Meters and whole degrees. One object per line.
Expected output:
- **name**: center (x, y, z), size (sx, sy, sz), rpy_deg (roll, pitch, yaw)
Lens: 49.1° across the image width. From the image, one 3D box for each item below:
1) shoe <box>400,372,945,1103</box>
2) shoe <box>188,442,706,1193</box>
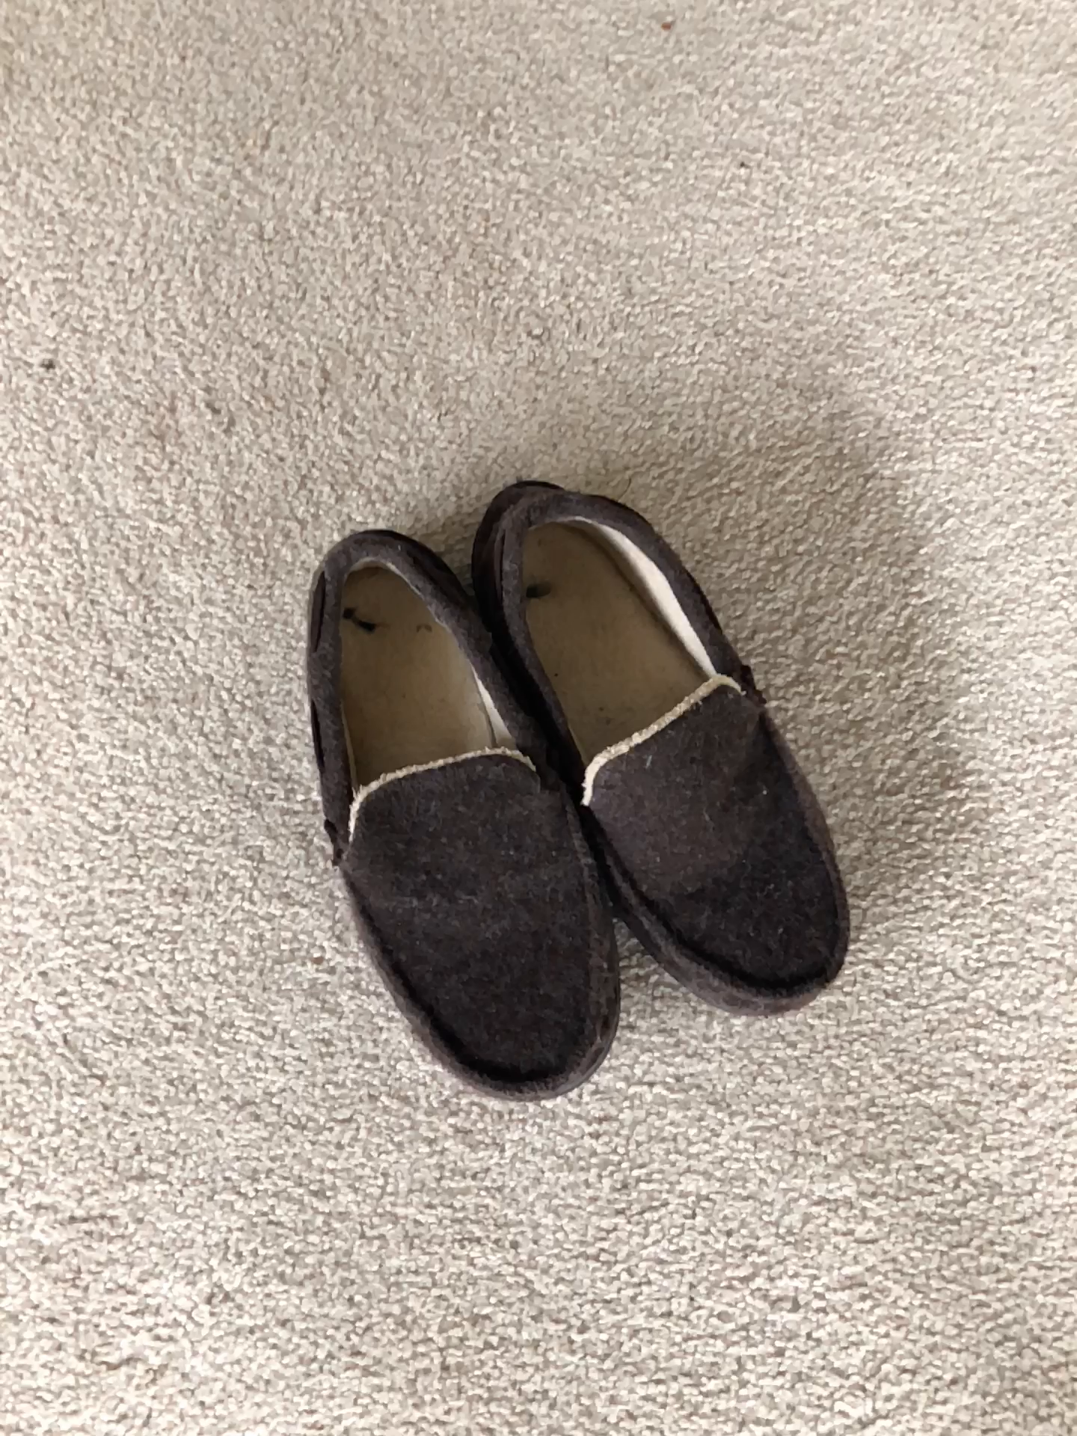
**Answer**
- **shoe**: center (0.055, 0.008, 0.583), size (0.118, 0.096, 0.316), rpy_deg (-25, 81, -6)
- **shoe**: center (-0.047, 0.044, 0.578), size (0.120, 0.096, 0.317), rpy_deg (-23, 81, -6)
